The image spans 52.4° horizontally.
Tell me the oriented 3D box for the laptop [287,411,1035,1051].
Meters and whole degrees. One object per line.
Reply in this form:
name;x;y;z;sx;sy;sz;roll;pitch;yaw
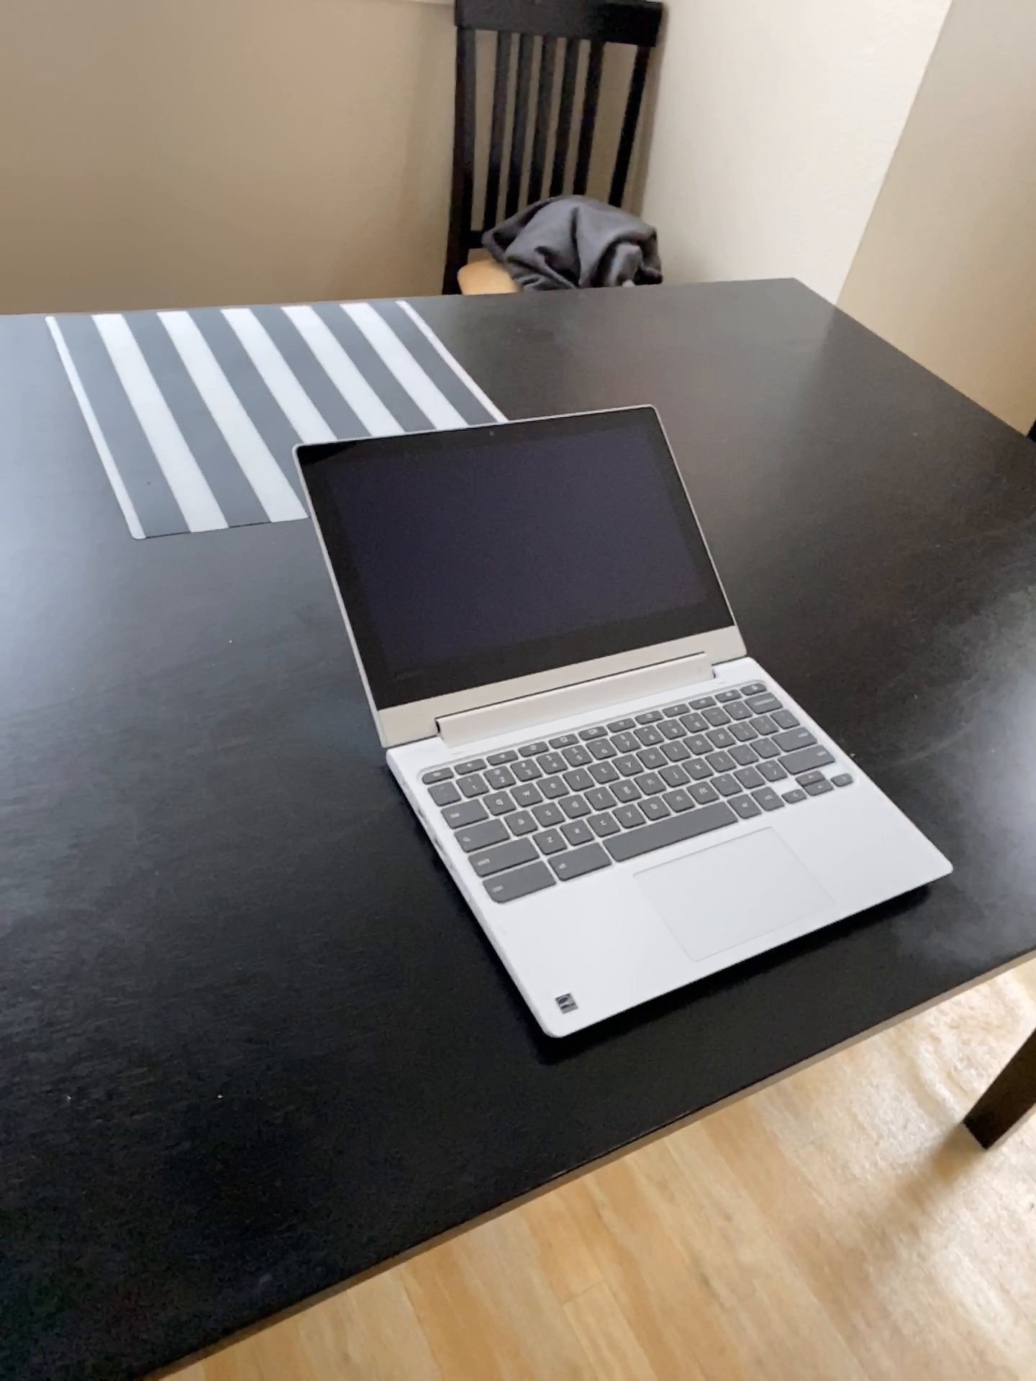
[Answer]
laptop;0.061;-0.019;0.647;0.285;0.105;0.381;-14;47;-27
